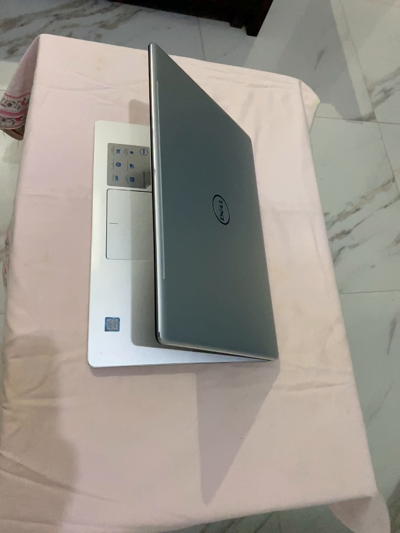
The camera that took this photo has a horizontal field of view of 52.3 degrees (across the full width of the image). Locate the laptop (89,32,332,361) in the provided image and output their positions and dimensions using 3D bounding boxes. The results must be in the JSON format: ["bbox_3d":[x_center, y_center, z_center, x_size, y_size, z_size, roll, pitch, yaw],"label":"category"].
[{"bbox_3d":[-0.012,-0.073,0.502,0.234,0.149,0.347,2,70,-16],"label":"laptop"}]
